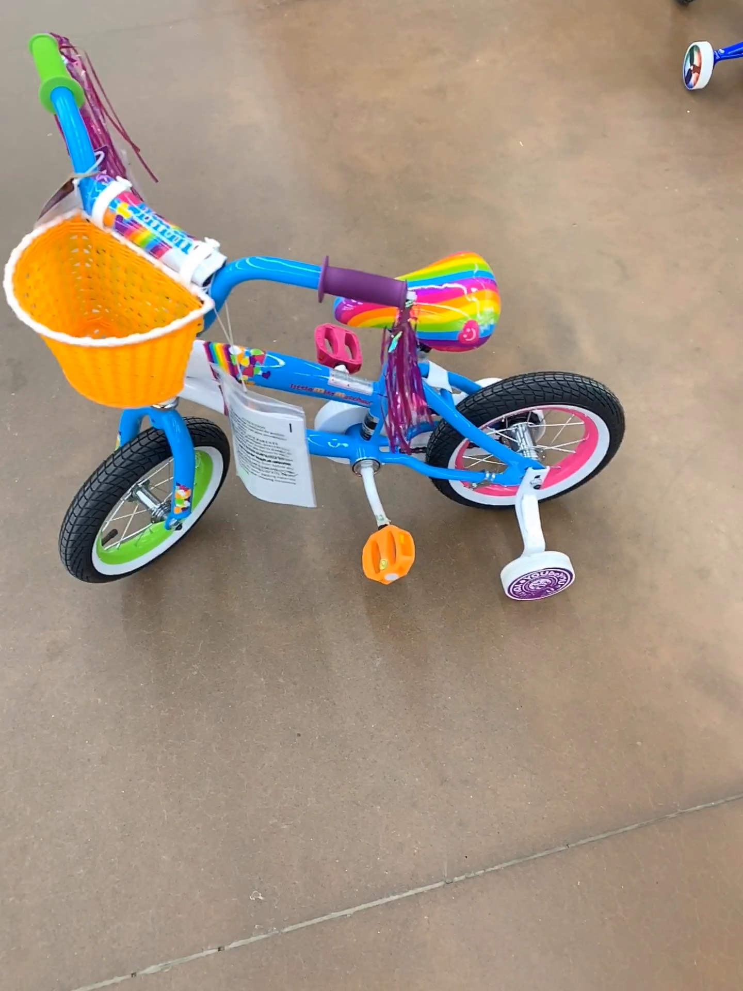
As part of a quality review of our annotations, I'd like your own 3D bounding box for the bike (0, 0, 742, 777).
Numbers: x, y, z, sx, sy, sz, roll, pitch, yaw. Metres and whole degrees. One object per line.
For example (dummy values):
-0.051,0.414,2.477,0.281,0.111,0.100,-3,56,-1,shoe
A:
-0.038,-0.107,0.967,0.833,0.667,0.522,-12,55,-3,bike
